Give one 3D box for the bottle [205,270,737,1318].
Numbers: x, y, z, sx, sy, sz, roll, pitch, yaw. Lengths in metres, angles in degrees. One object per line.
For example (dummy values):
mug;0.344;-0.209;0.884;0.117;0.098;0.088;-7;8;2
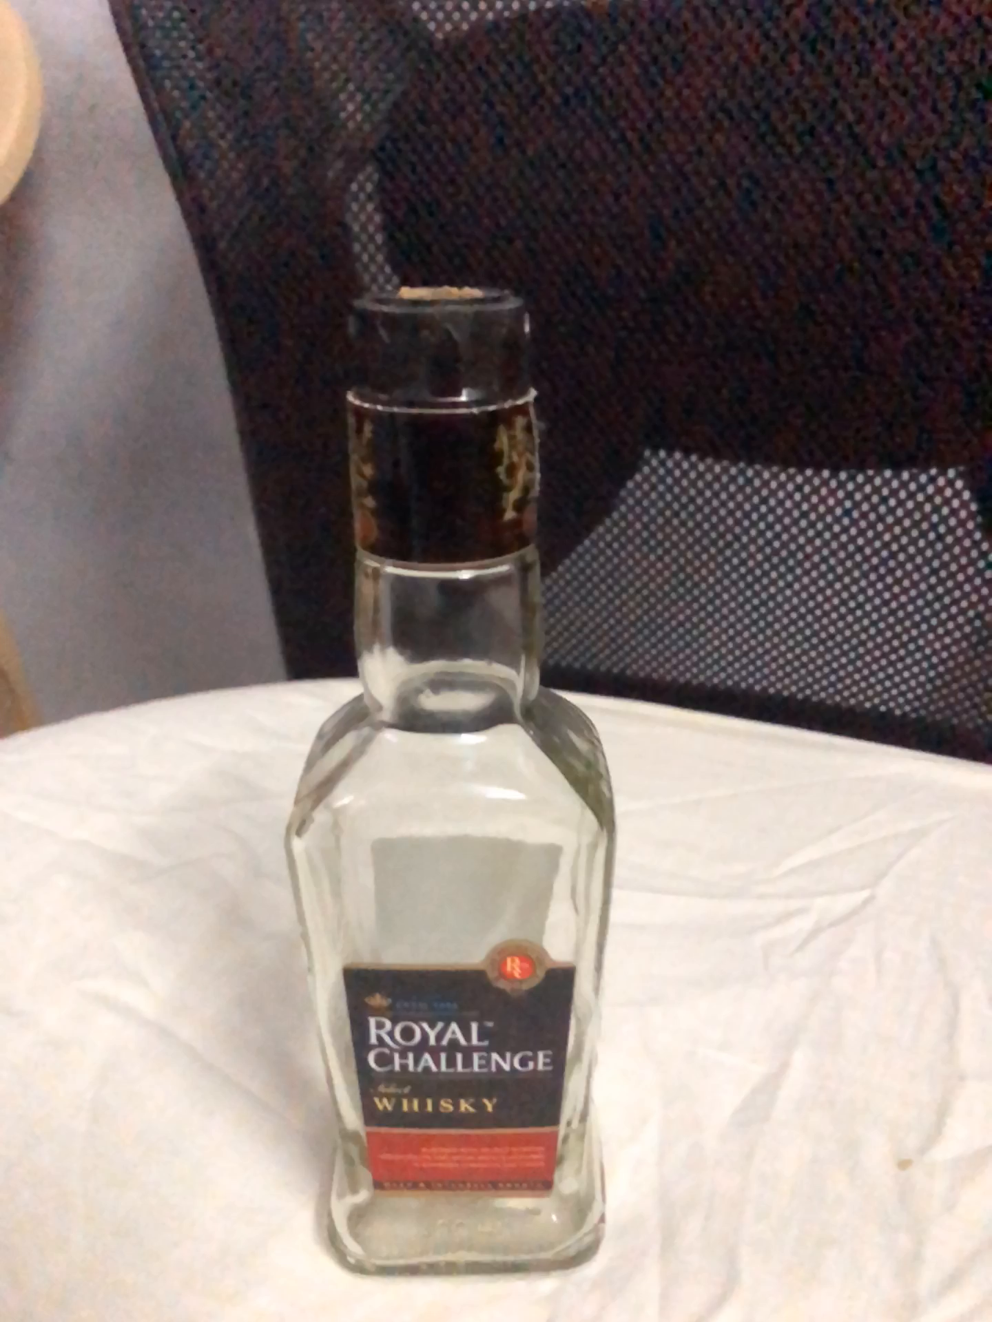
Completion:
bottle;-0.002;0.034;0.210;0.070;0.199;0.050;-1;25;0
